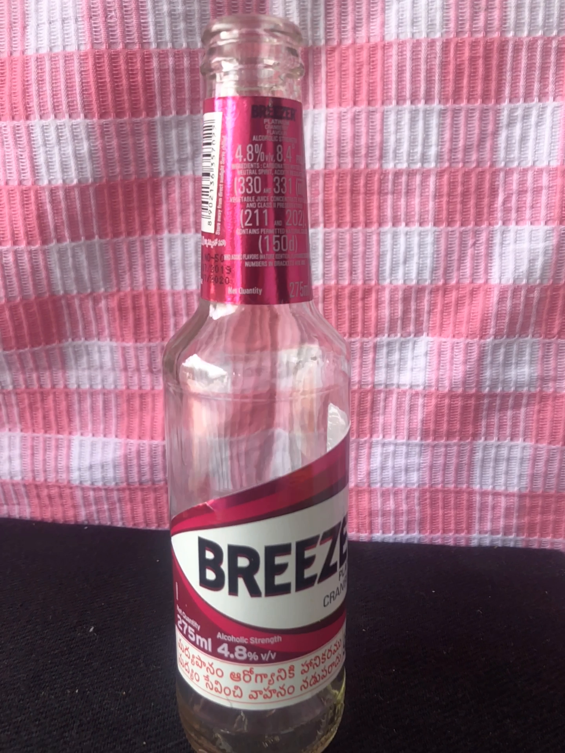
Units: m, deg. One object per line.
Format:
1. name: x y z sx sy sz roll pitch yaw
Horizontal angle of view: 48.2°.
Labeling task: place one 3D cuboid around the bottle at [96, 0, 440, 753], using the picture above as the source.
1. bottle: -0.010 0.018 0.171 0.060 0.209 0.060 1 16 0
